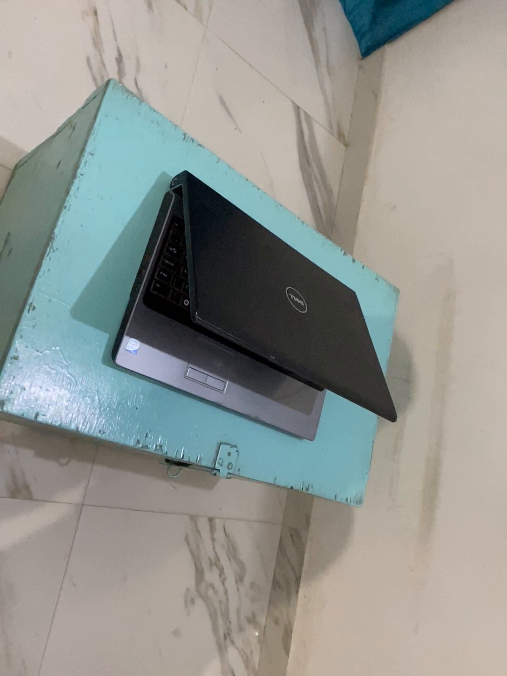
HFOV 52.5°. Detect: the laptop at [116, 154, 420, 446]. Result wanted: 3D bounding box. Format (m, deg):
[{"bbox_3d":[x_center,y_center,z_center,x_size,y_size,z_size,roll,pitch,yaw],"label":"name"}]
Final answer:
[{"bbox_3d":[0.049,-0.023,0.748,0.389,0.152,0.261,27,71,-37],"label":"laptop"}]
